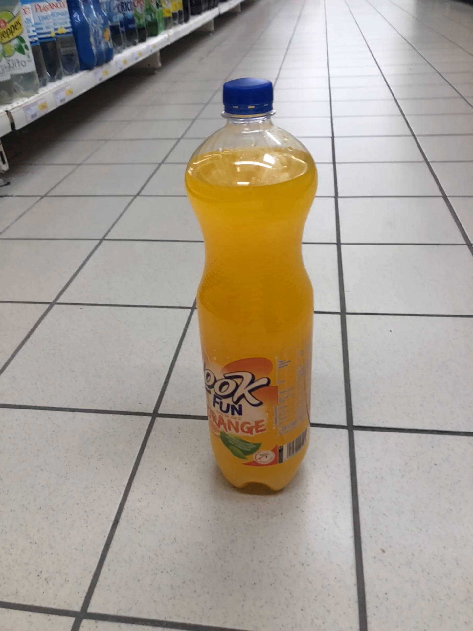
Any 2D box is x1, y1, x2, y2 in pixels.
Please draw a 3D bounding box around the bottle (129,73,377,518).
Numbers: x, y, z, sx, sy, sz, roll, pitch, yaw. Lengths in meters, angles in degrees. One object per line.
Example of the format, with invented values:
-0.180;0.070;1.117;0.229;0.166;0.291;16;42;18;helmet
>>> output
0.014;-0.007;0.389;0.100;0.298;0.110;-2;33;2;bottle
